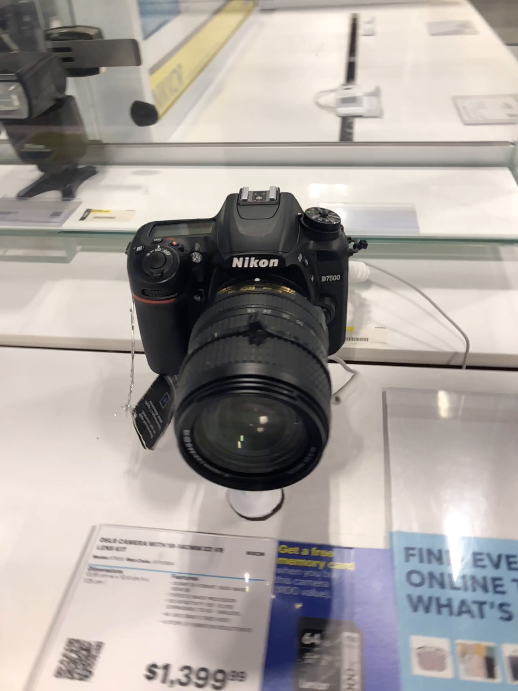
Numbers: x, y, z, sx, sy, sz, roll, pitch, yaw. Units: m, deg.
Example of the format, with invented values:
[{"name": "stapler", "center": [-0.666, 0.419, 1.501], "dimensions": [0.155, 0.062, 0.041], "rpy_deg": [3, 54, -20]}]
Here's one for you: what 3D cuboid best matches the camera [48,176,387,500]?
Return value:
[{"name": "camera", "center": [-0.011, -0.017, 0.336], "dimensions": [0.140, 0.089, 0.191], "rpy_deg": [0, 38, 4]}]
